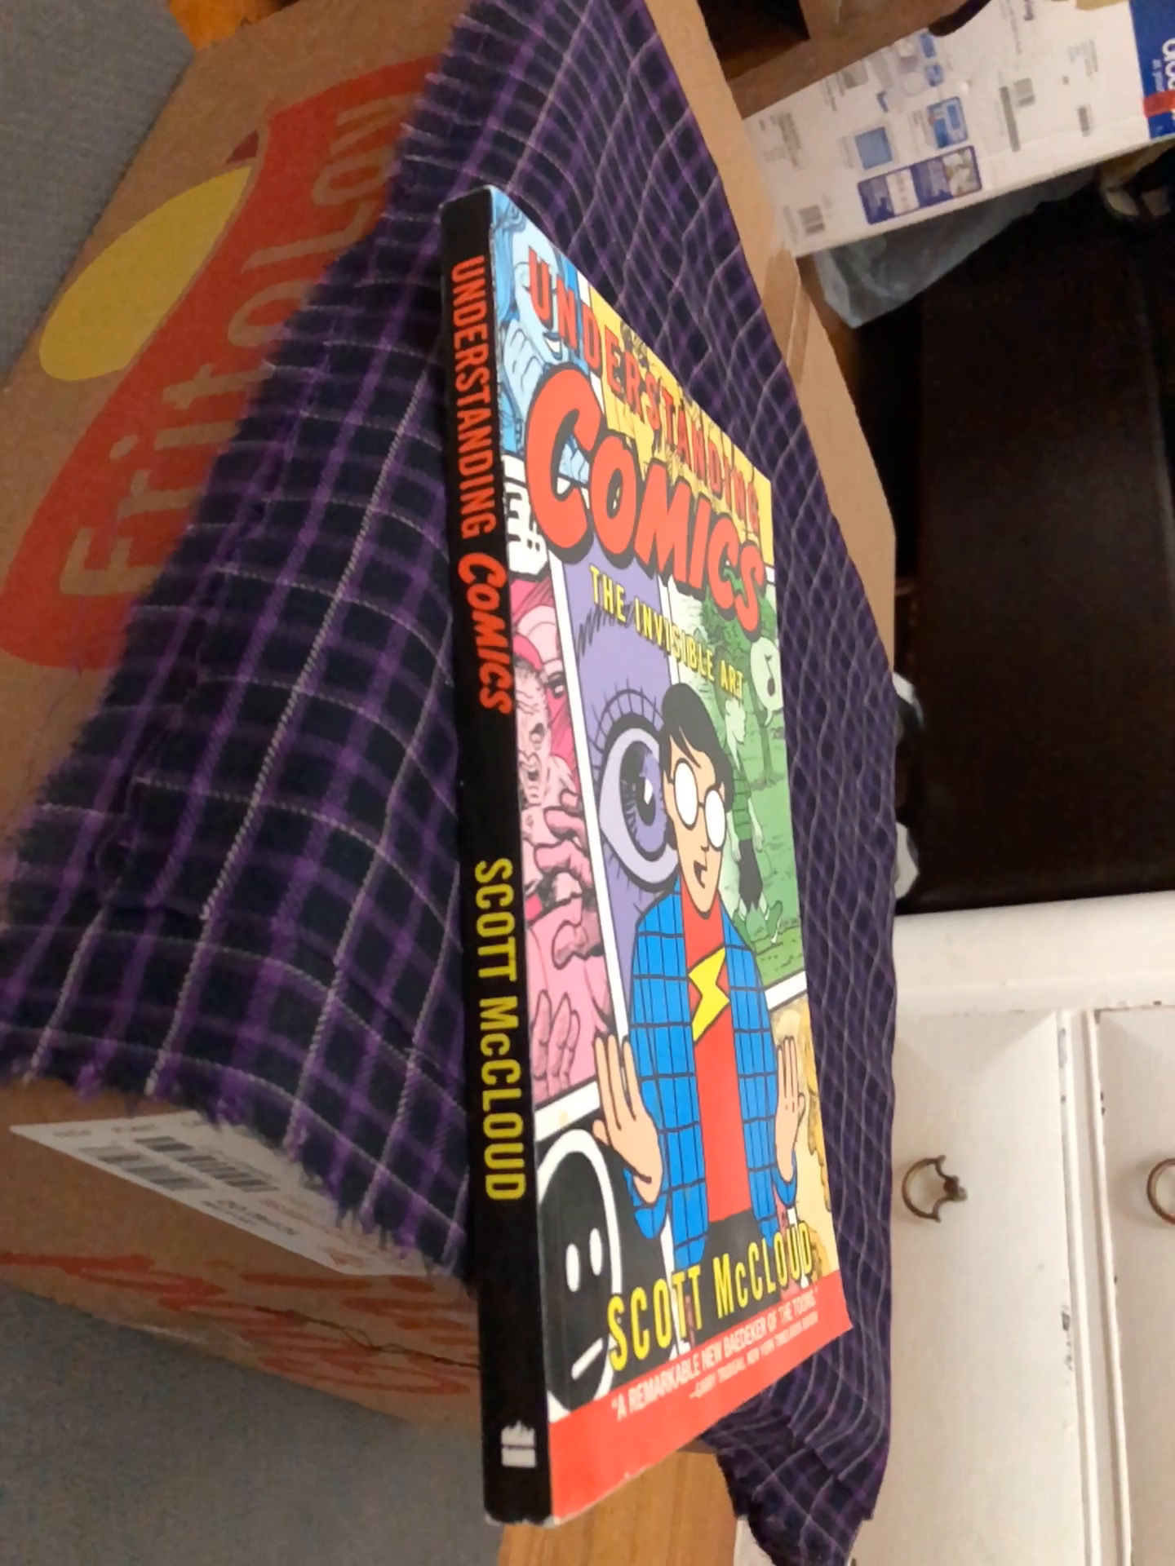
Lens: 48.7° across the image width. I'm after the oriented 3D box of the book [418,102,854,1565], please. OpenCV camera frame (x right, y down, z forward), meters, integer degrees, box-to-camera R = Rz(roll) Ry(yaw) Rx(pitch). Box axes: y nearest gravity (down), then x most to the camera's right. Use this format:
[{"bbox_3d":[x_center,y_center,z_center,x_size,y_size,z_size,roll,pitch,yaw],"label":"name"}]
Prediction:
[{"bbox_3d":[0.019,0.009,0.314,0.171,0.020,0.270,21,63,-61],"label":"book"}]
